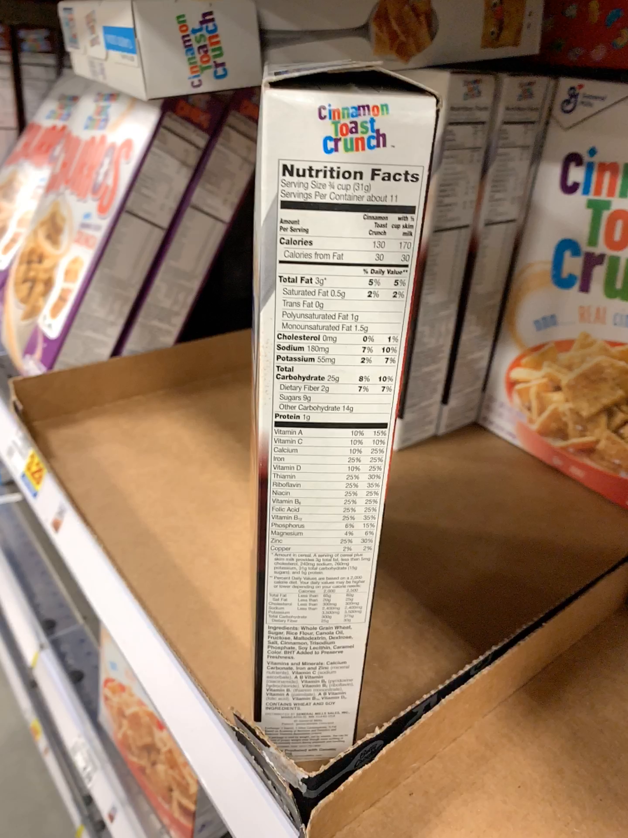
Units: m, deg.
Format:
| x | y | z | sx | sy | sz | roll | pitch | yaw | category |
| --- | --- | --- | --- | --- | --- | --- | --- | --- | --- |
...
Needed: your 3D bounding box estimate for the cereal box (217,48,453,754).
| x | y | z | sx | sy | sz | roll | pitch | yaw | category |
| --- | --- | --- | --- | --- | --- | --- | --- | --- | --- |
| -0.008 | -0.017 | 0.316 | 0.060 | 0.279 | 0.191 | 0 | 29 | -5 | cereal box |
